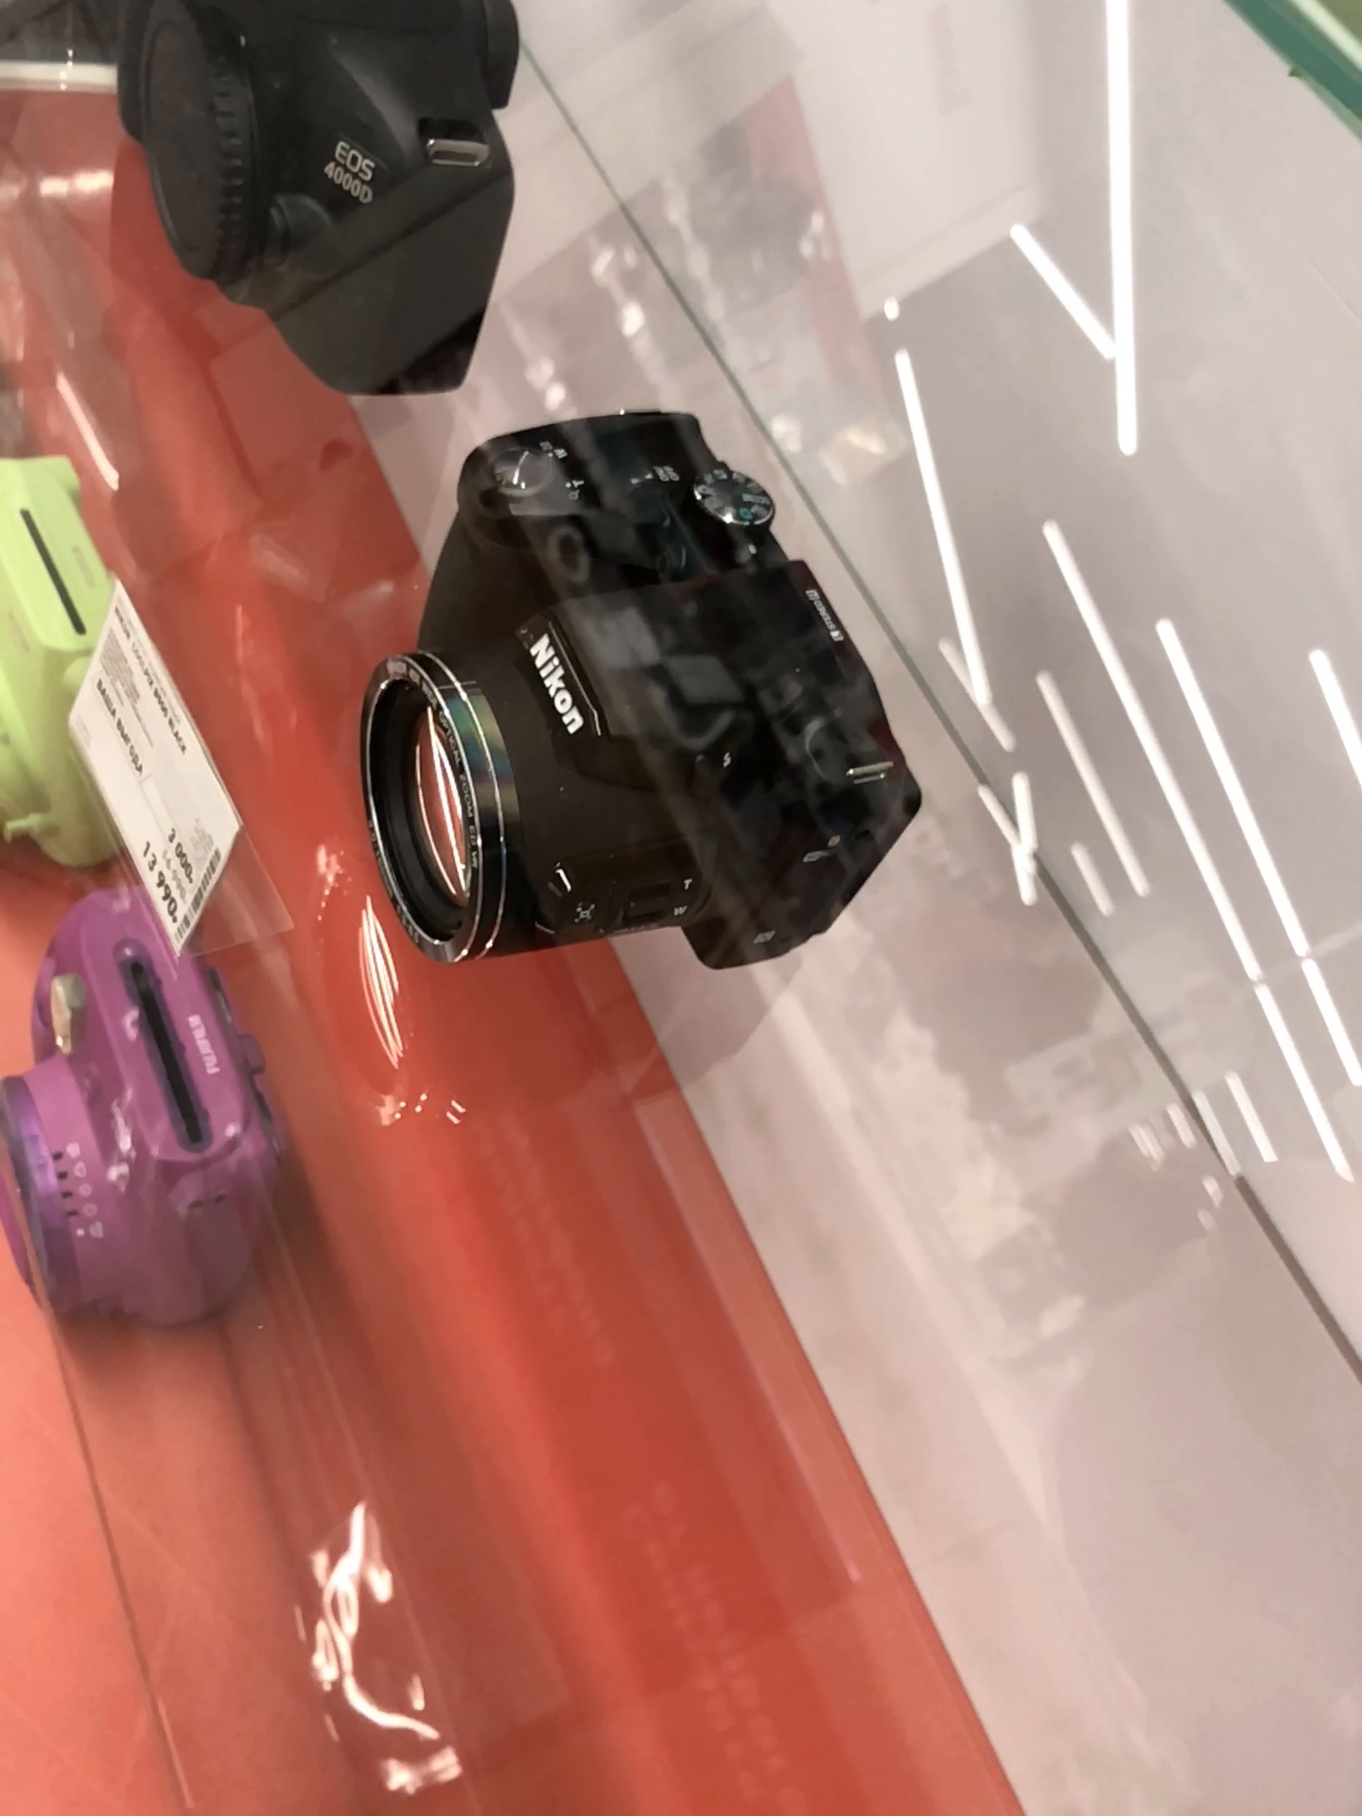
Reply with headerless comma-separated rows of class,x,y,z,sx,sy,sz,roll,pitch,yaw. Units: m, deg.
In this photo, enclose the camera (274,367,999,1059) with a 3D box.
camera,-0.016,-0.046,0.318,0.100,0.070,0.115,-12,62,-28
